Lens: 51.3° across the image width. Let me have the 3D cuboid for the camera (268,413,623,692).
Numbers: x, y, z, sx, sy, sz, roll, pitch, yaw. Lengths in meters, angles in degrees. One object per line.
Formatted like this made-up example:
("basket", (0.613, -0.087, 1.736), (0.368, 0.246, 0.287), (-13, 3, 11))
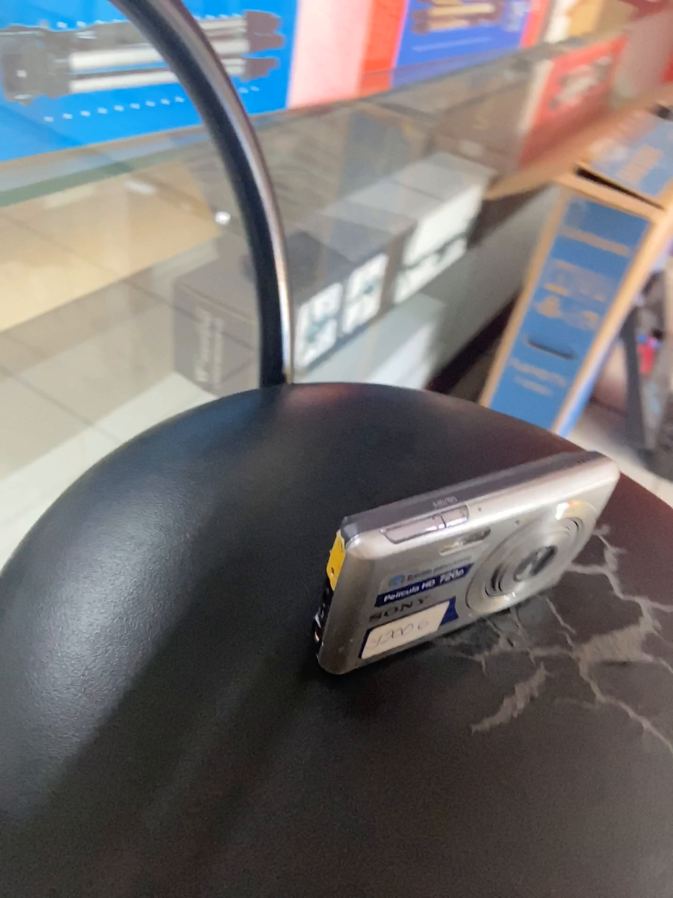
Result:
("camera", (0.033, 0.030, 0.222), (0.100, 0.060, 0.030), (-13, 46, -28))
